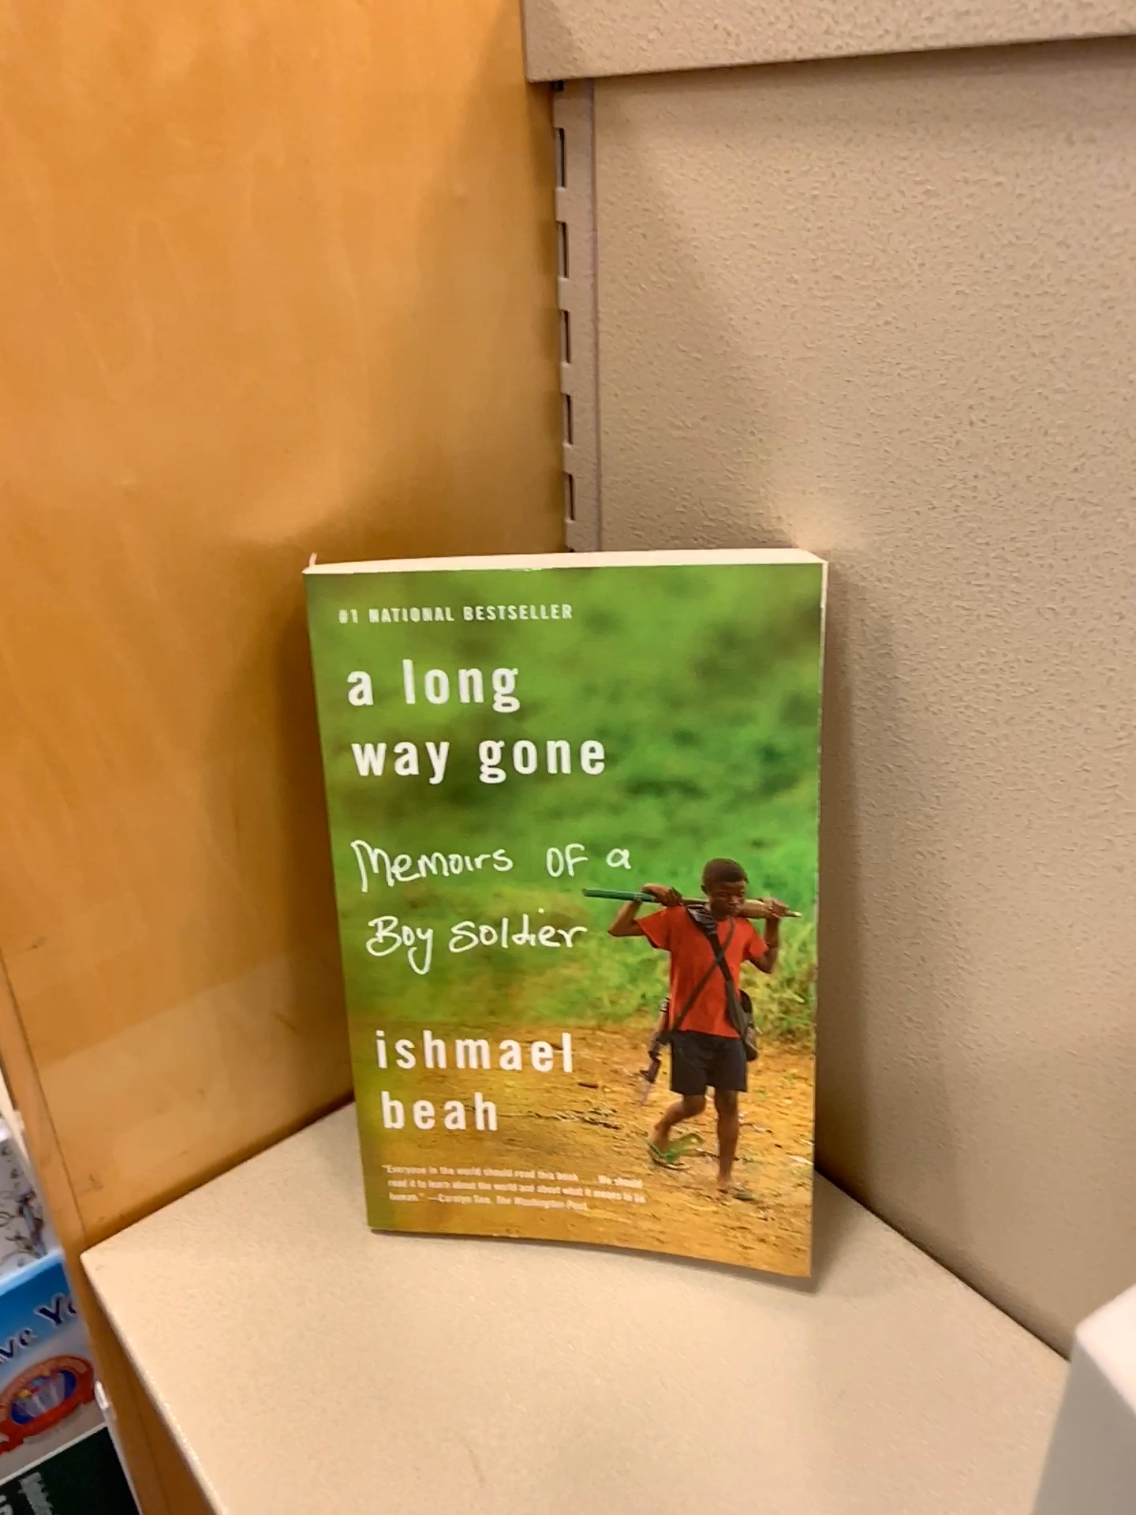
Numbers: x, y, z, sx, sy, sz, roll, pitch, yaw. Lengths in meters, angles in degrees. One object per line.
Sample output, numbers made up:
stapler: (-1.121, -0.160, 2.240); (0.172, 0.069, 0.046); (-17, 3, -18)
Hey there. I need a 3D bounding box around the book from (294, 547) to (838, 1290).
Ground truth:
book: (0.002, 0.048, 0.333); (0.140, 0.209, 0.020); (1, 17, 13)
